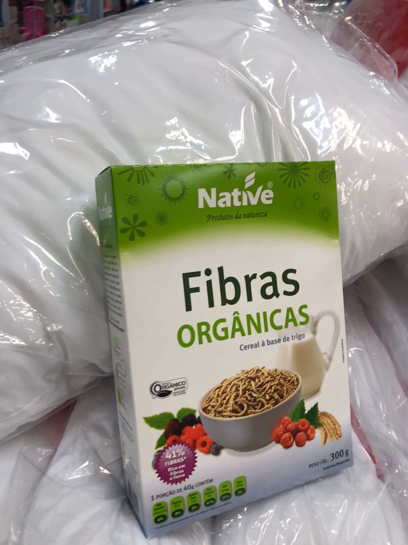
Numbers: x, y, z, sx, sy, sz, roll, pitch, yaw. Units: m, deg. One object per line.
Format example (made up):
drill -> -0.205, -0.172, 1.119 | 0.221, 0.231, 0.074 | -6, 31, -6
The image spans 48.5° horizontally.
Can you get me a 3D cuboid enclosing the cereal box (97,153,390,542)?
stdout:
cereal box -> 0.035, 0.037, 0.329 | 0.190, 0.230, 0.060 | -7, 6, -22
